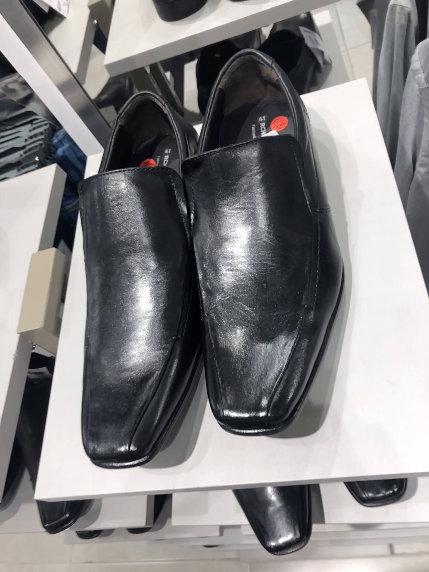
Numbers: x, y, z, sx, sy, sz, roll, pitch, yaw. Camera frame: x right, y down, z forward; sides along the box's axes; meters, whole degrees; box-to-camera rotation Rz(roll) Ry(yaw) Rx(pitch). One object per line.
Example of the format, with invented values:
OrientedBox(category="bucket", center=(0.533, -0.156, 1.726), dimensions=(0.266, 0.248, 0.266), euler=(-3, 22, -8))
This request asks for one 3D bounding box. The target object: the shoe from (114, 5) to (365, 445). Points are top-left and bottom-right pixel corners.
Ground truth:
OrientedBox(category="shoe", center=(0.024, -0.048, 0.327), dimensions=(0.110, 0.100, 0.281), euler=(-9, 58, 19))

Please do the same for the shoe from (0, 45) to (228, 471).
OrientedBox(category="shoe", center=(-0.061, -0.029, 0.358), dimensions=(0.110, 0.100, 0.301), euler=(-9, 58, 19))
